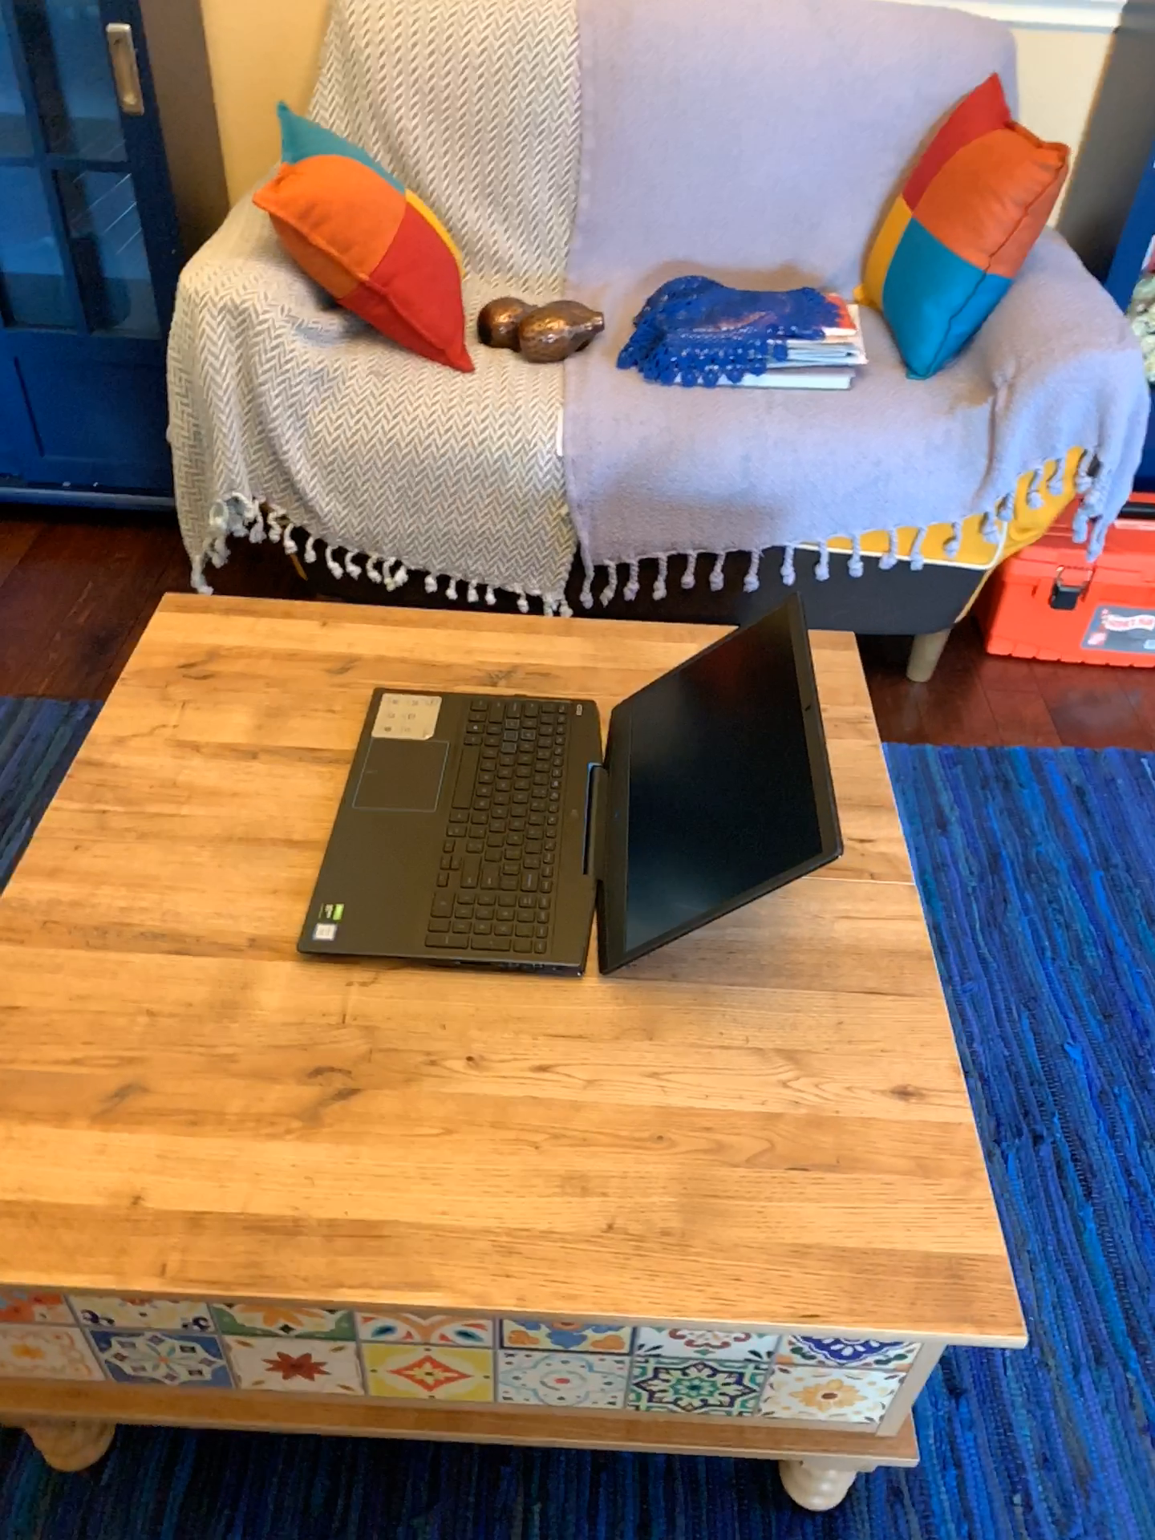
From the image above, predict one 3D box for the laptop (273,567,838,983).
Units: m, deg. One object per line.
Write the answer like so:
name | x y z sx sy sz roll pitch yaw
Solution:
laptop | -0.012 -0.010 1.053 0.418 0.156 0.347 4 41 0
